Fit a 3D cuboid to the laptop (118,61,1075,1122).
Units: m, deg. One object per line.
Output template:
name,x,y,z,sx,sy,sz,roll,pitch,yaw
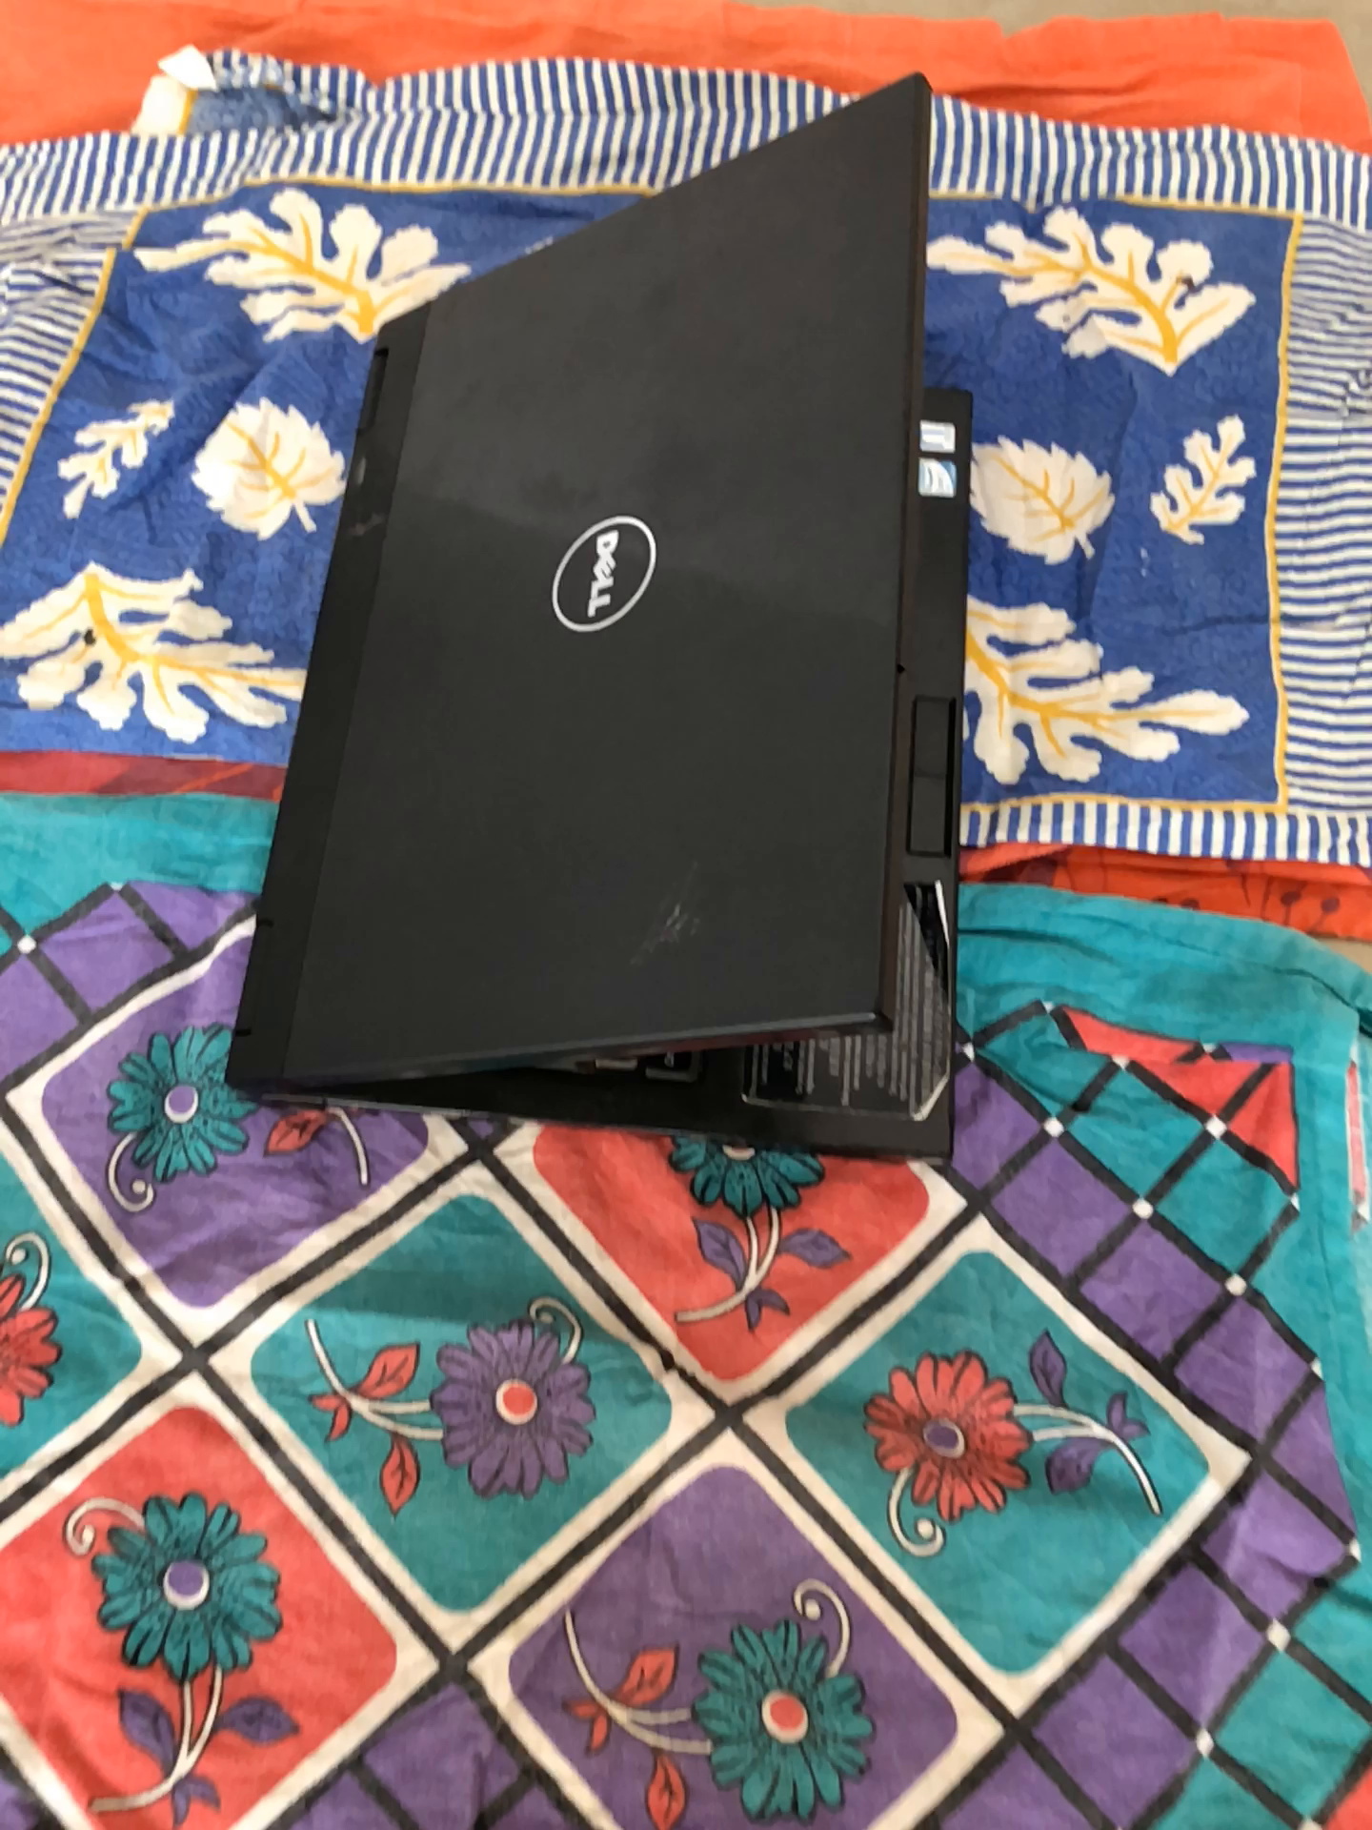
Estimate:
laptop,-0.011,-0.102,0.490,0.234,0.143,0.299,4,69,3
